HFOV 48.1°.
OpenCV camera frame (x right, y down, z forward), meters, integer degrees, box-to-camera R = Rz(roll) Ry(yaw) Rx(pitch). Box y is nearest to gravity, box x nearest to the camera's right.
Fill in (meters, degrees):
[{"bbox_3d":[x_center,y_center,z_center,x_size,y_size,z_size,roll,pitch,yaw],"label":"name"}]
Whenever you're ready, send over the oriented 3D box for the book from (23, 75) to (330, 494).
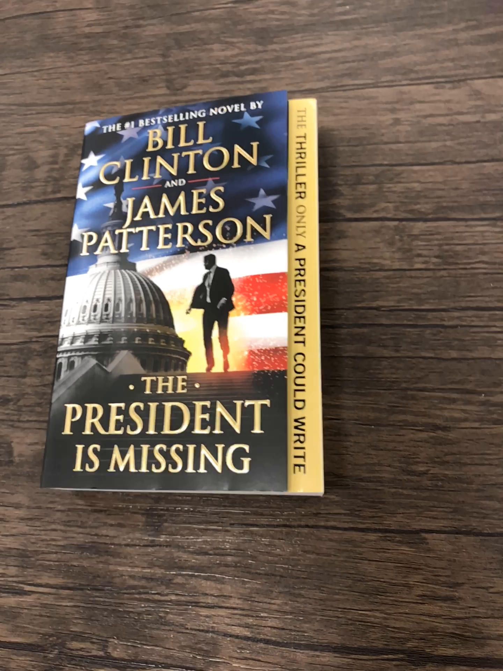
[{"bbox_3d":[-0.032,-0.027,0.309,0.140,0.054,0.216,-2,73,10],"label":"book"}]
